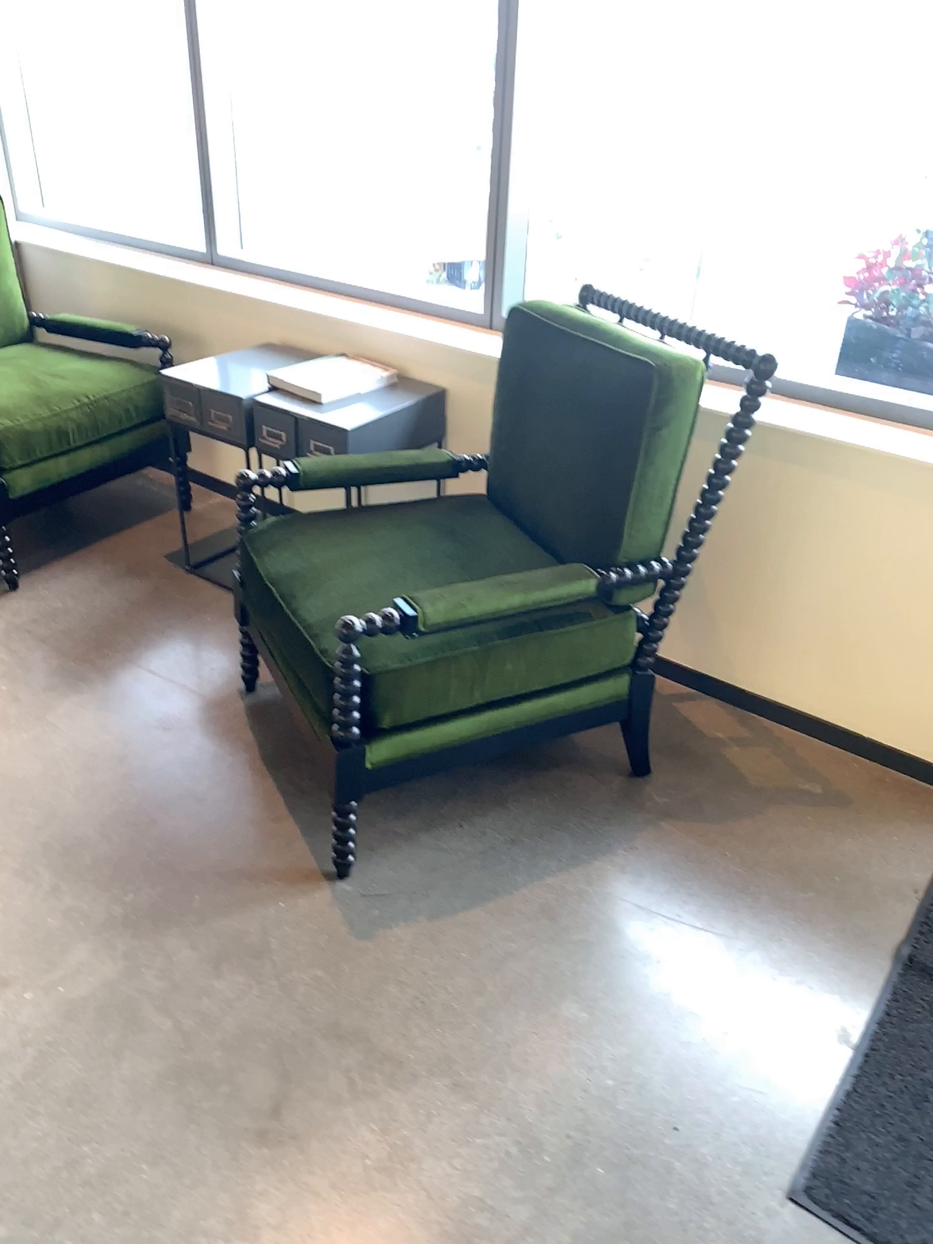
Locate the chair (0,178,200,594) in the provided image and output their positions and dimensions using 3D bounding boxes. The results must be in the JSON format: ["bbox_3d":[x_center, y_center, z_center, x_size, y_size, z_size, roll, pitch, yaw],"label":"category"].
[{"bbox_3d":[-1.515,-0.791,2.940,0.912,0.924,0.843,19,34,24],"label":"chair"}]

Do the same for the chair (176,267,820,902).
[{"bbox_3d":[-0.011,-0.175,2.050,0.940,0.924,0.875,-12,34,-23],"label":"chair"}]
